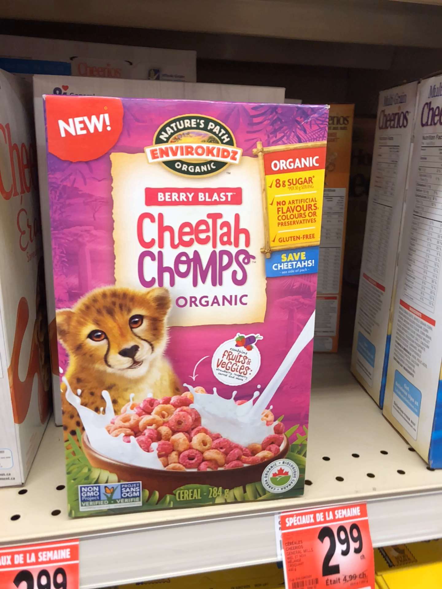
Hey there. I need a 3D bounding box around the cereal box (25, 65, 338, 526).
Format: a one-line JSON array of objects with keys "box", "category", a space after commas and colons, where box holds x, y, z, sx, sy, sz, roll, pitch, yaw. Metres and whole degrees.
[{"box": [-0.024, 0.004, 0.312, 0.160, 0.259, 0.070, -1, 13, -9], "category": "cereal box"}]
